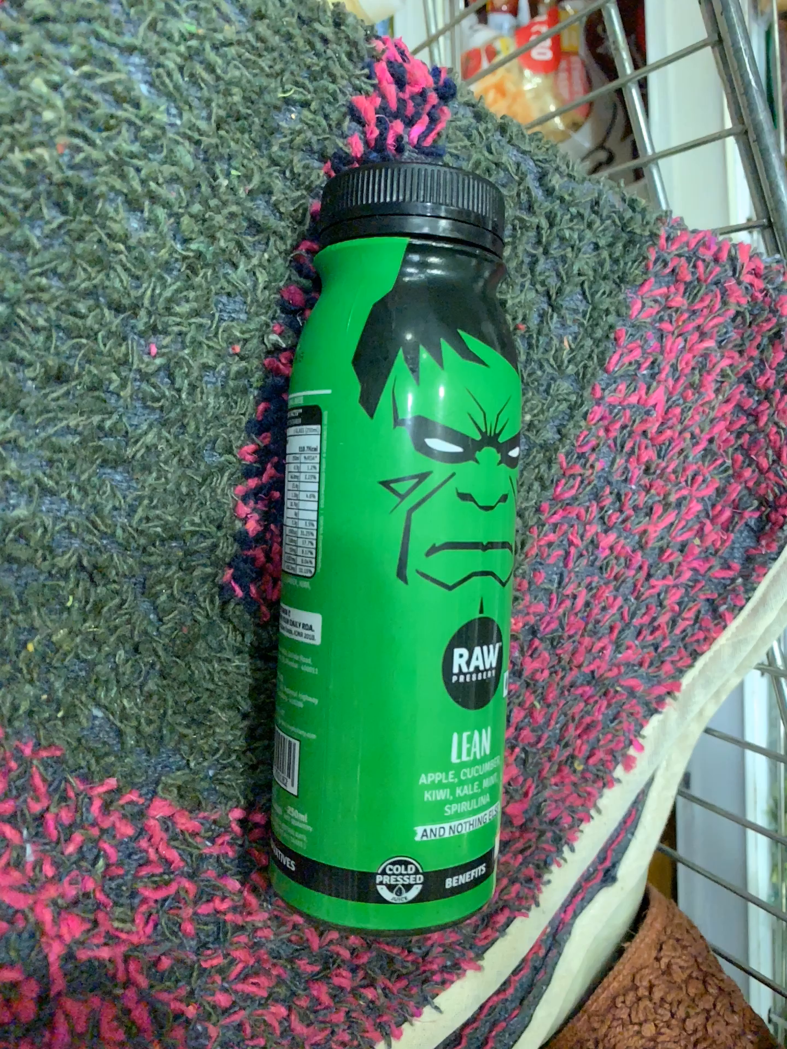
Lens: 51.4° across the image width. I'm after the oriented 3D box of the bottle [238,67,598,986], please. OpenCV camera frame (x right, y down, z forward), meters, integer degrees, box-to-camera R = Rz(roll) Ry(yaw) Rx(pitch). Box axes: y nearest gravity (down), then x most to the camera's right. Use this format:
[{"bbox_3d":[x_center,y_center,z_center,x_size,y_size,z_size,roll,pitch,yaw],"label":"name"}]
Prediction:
[{"bbox_3d":[0.005,0.001,0.180,0.060,0.050,0.160,0,91,-37],"label":"bottle"}]
